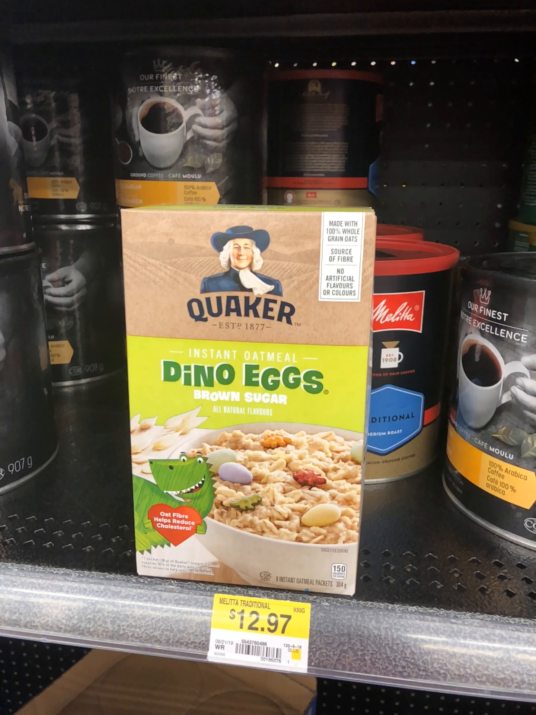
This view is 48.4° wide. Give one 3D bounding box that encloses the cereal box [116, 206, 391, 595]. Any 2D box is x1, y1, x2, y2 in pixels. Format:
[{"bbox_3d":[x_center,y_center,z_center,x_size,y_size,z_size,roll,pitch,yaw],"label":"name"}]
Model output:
[{"bbox_3d":[-0.006,0.019,0.337,0.130,0.199,0.070,3,14,7],"label":"cereal box"}]
